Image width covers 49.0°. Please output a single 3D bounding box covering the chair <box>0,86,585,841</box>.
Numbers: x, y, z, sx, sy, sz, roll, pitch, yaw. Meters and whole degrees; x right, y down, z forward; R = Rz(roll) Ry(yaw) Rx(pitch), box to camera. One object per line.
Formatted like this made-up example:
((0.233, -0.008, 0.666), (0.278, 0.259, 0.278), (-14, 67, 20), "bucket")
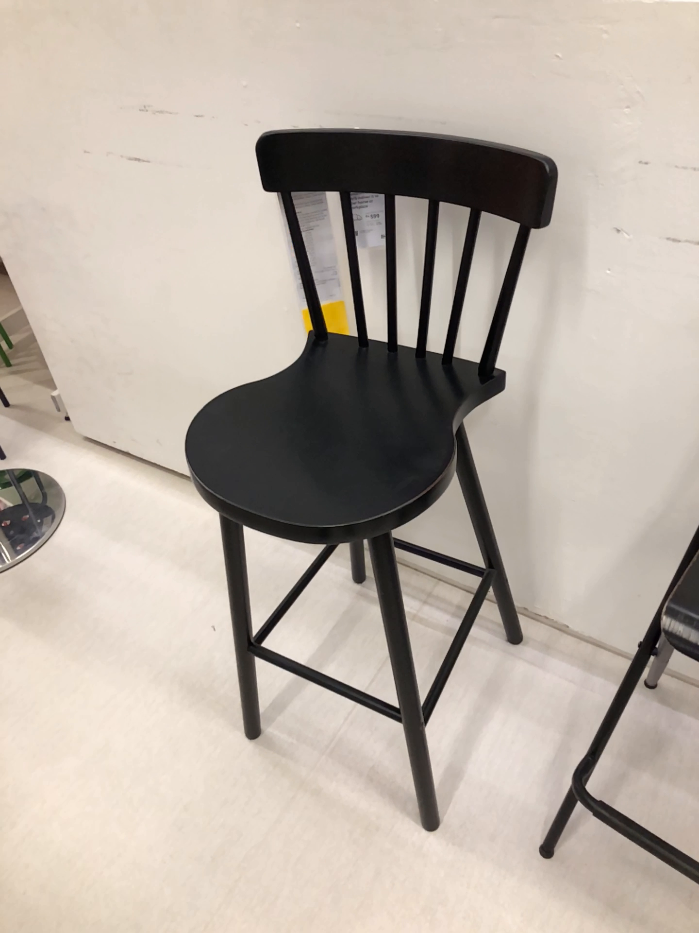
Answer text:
((-0.008, 0.013, 1.087), (0.461, 0.874, 0.482), (16, 46, 26), "chair")
